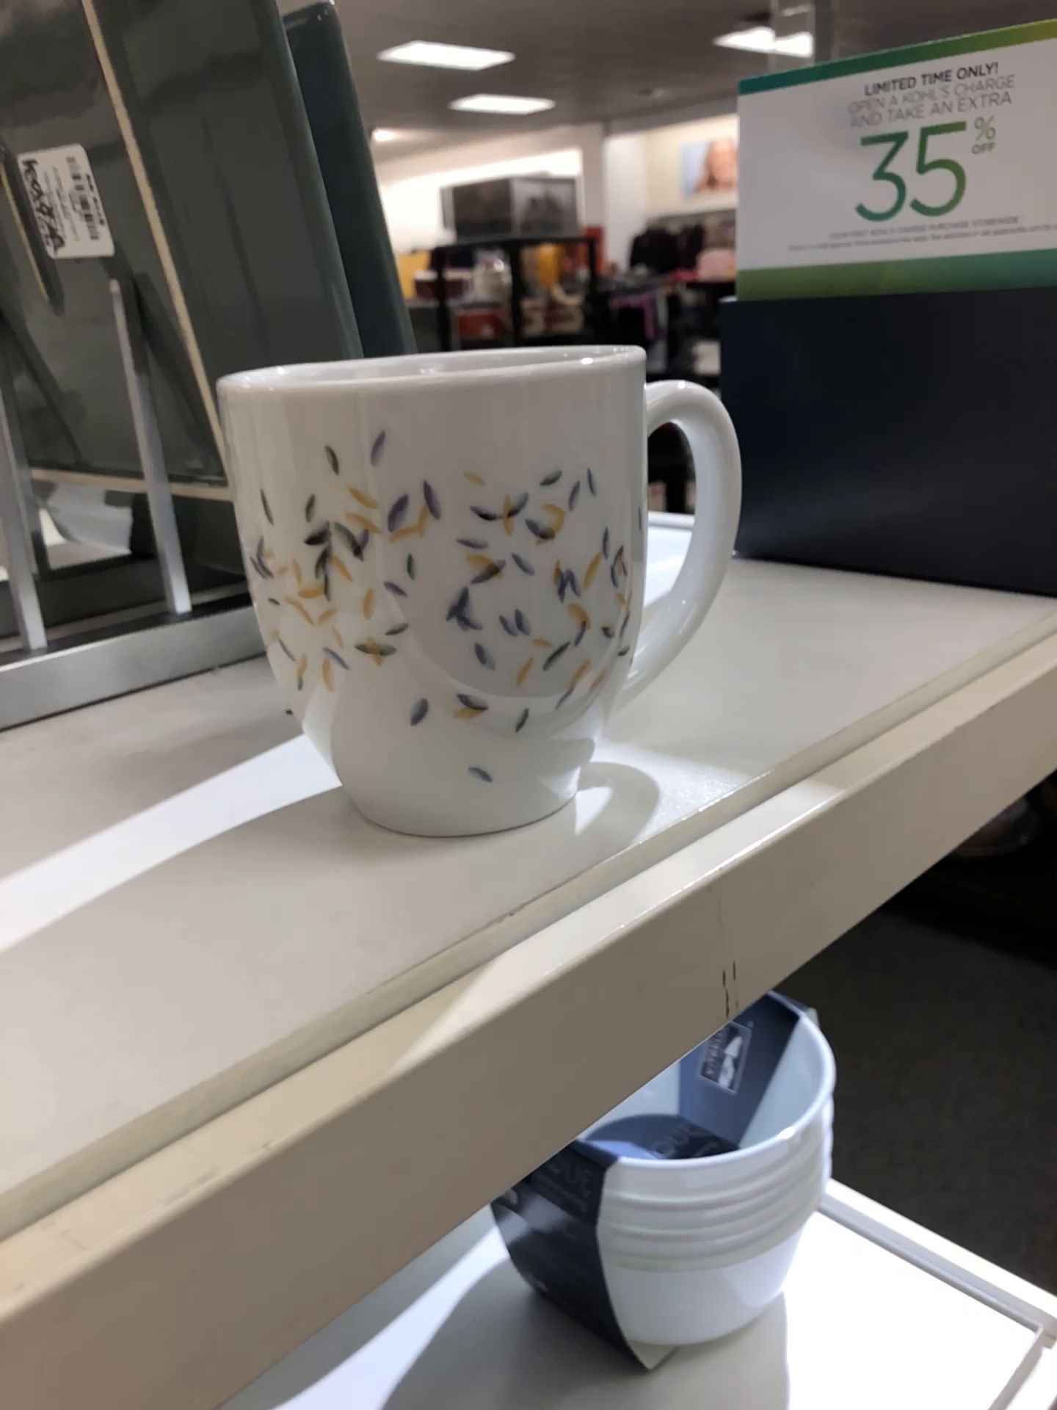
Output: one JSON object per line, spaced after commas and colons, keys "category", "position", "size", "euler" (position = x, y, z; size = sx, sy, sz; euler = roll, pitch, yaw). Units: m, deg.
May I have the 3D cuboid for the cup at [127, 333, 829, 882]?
{"category": "cup", "position": [-0.009, -0.036, 0.279], "size": [0.127, 0.091, 0.093], "euler": [-16, 23, -32]}
